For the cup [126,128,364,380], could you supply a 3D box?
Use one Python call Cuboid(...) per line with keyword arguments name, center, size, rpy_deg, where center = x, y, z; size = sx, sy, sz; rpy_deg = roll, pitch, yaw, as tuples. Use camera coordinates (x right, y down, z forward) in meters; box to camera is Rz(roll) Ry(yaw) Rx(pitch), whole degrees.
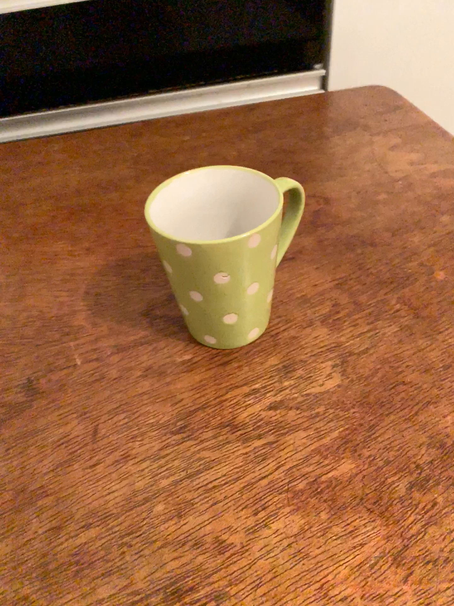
Cuboid(name="cup", center=(0.017, -0.039, 0.322), size=(0.090, 0.099, 0.120), rpy_deg=(29, 54, 32))
